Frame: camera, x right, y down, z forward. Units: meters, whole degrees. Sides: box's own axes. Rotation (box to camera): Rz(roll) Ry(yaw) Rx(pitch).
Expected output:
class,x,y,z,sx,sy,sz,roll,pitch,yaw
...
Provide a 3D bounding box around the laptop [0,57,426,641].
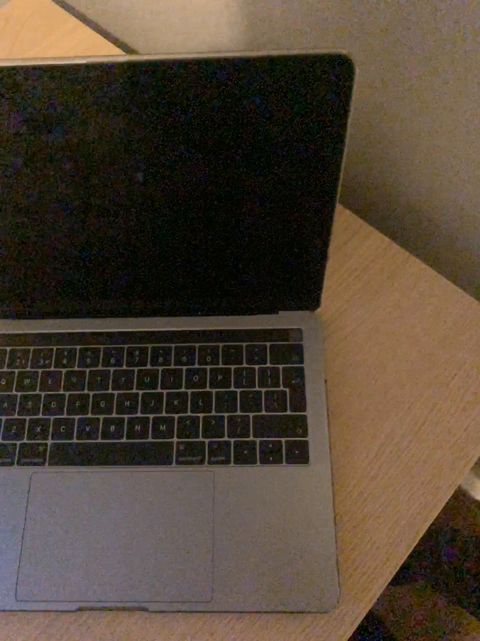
class,x,y,z,sx,sy,sz,roll,pitch,yaw
laptop,-0.089,0.036,0.284,0.294,0.198,0.257,-1,69,3
